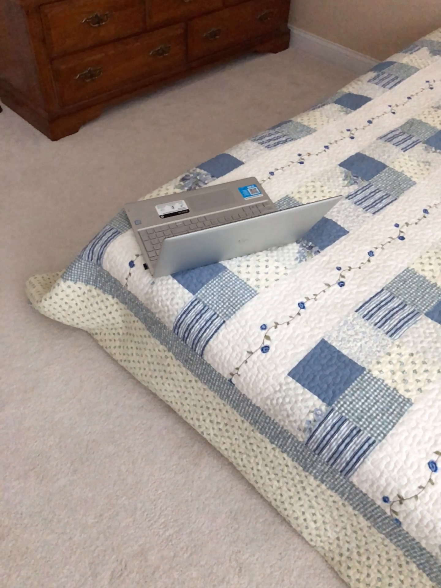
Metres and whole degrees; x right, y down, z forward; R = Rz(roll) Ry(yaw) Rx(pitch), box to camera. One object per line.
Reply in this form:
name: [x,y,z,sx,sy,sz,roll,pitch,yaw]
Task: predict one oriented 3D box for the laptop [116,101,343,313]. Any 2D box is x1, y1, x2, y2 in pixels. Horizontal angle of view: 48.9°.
laptop: [-0.001,-0.207,1.064,0.355,0.208,0.359,-15,52,-16]
